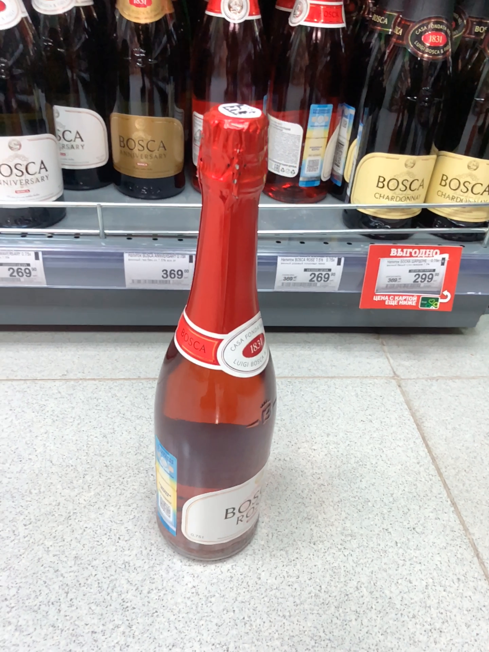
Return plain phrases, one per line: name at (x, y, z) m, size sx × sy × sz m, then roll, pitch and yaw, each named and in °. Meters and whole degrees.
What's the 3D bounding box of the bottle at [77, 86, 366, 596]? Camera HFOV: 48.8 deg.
bottle at (-0.023, 0.026, 0.356) m, size 0.100 × 0.317 × 0.100 m, roll 4°, pitch 36°, yaw -3°
